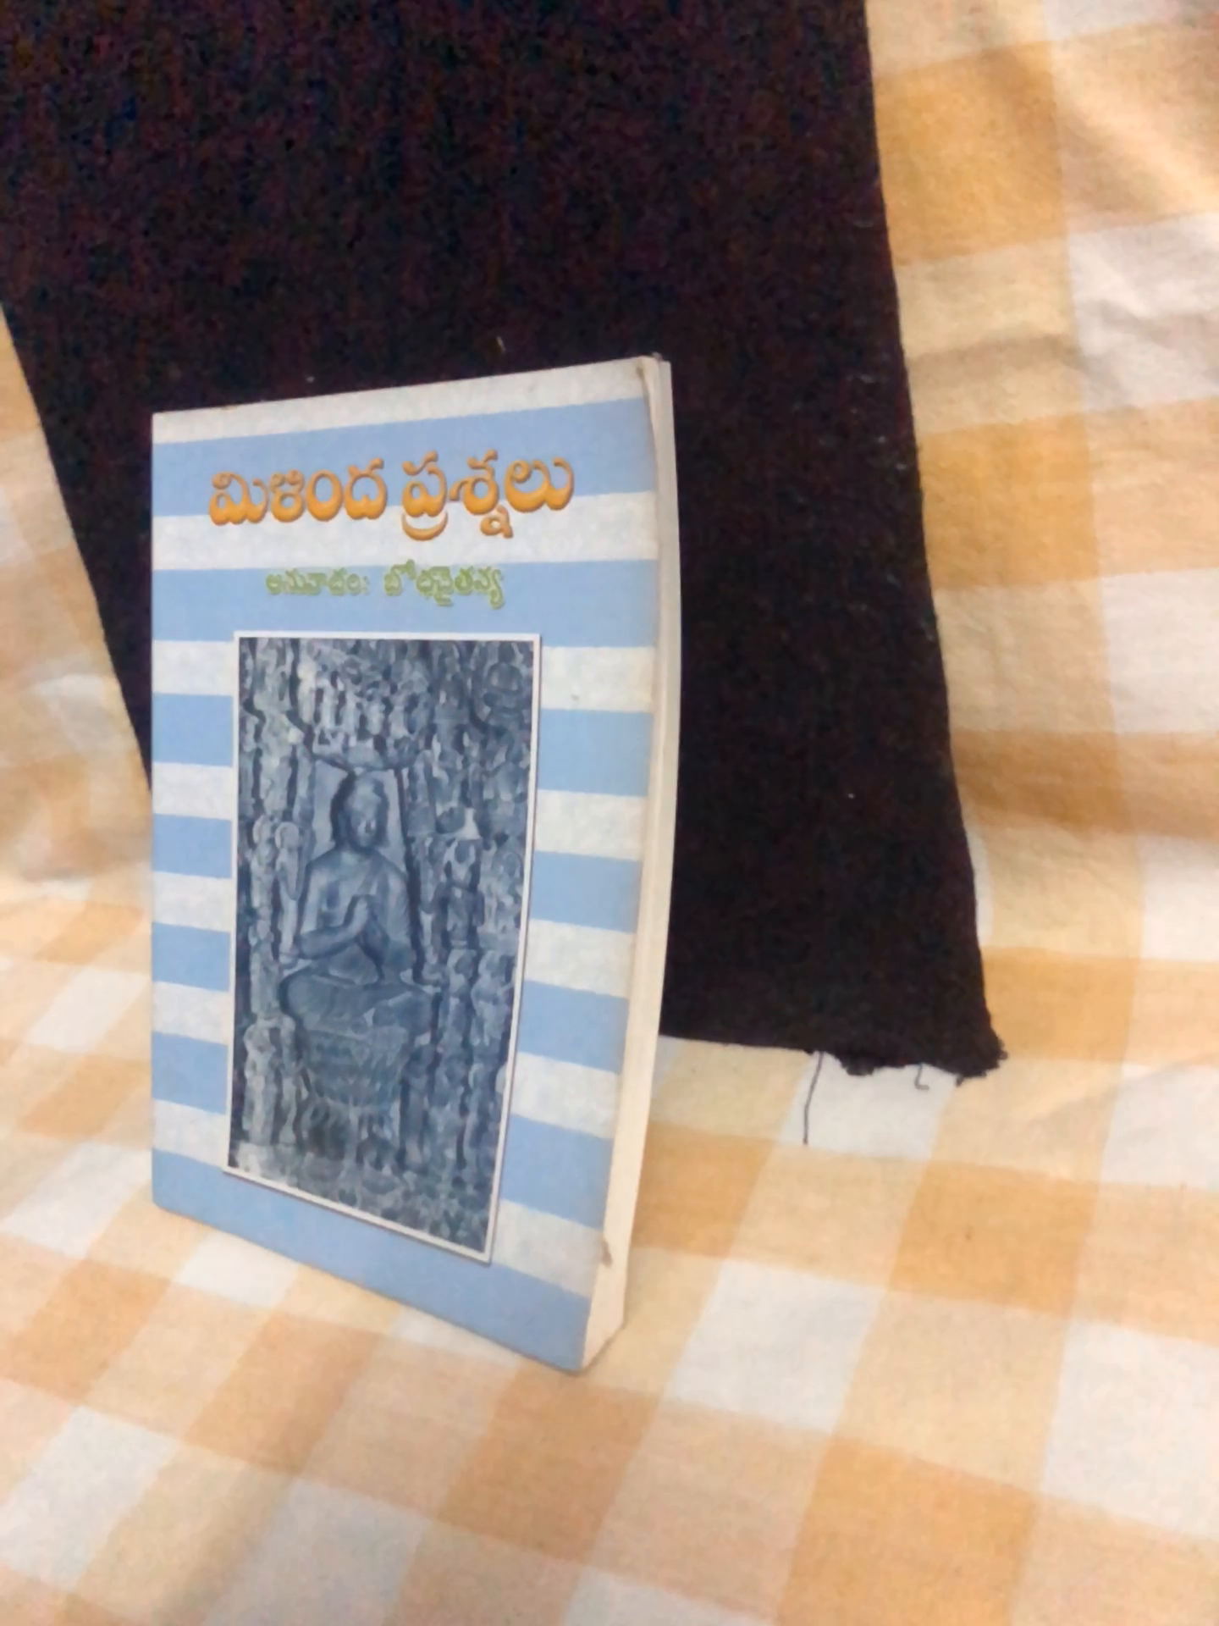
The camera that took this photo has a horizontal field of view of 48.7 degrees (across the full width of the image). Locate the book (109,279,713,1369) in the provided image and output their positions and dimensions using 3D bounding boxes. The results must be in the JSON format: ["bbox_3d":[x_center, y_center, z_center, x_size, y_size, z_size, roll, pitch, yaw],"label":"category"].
[{"bbox_3d":[-0.056,-0.002,0.317,0.160,0.210,0.030,5,5,36],"label":"book"}]
